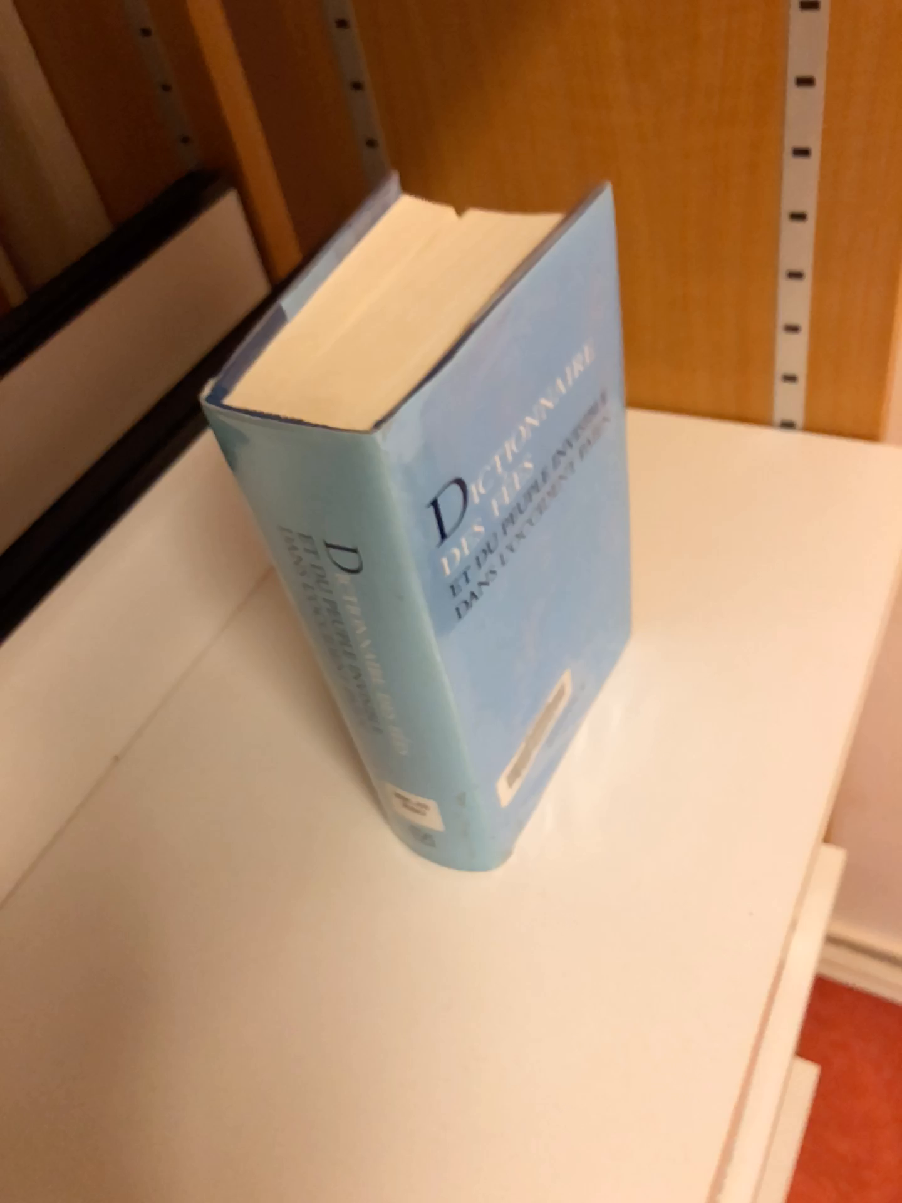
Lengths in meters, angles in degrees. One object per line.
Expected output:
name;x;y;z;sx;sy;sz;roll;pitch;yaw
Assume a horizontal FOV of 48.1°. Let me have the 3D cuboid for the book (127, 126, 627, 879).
book;-0.001;-0.023;0.311;0.060;0.186;0.126;17;53;26
